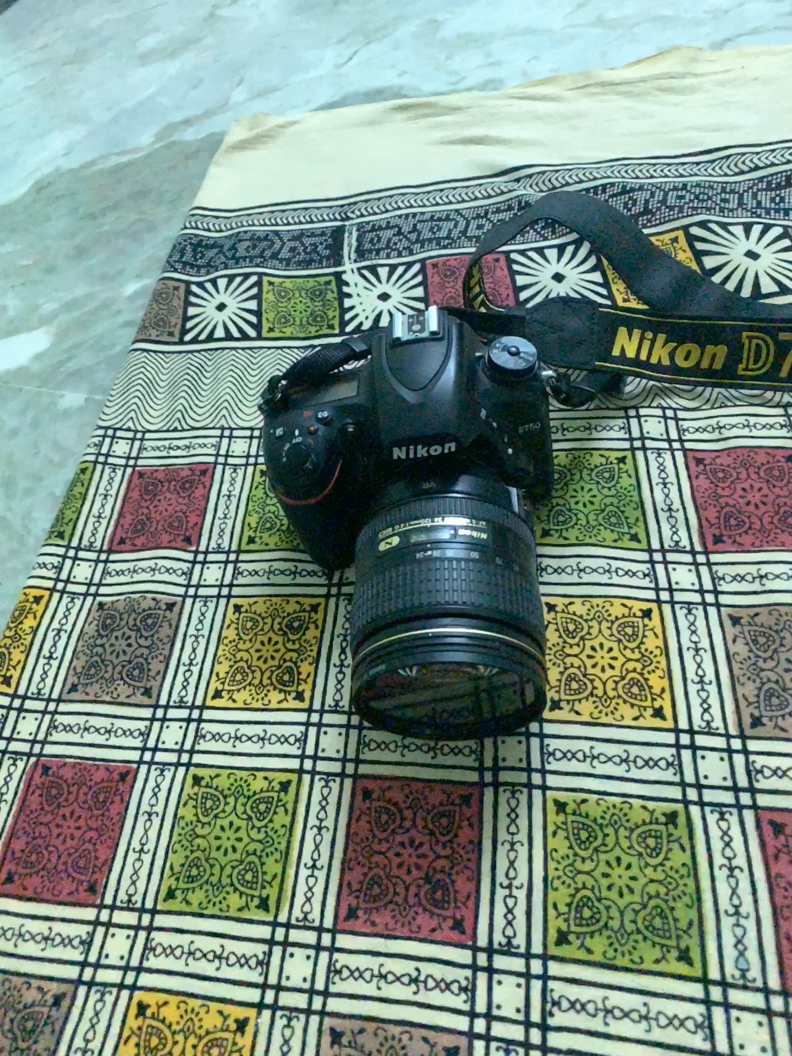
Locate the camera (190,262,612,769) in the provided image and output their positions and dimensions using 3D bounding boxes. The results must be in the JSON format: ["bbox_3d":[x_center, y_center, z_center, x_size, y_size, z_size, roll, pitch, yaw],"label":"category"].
[{"bbox_3d":[0.011,-0.008,0.361,0.140,0.100,0.190,-6,52,11],"label":"camera"}]
